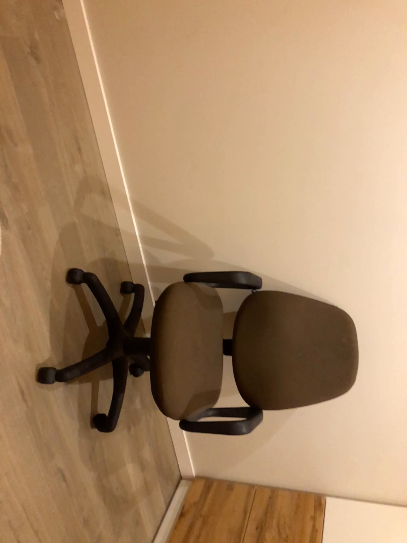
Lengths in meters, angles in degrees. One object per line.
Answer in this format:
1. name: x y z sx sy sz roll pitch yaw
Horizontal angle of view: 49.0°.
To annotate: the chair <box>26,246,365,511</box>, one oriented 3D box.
1. chair: 0.038 0.304 1.585 0.713 0.976 0.630 19 71 -68
